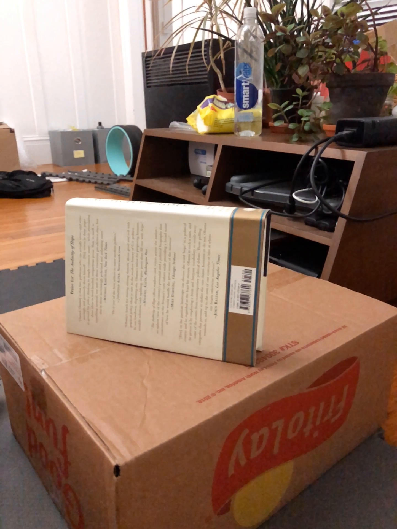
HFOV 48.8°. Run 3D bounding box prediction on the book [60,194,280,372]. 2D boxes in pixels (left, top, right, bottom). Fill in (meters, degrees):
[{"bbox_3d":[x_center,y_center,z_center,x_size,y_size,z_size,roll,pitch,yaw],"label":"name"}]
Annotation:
[{"bbox_3d":[-0.041,0.011,0.521,0.250,0.170,0.060,8,11,19],"label":"book"}]
